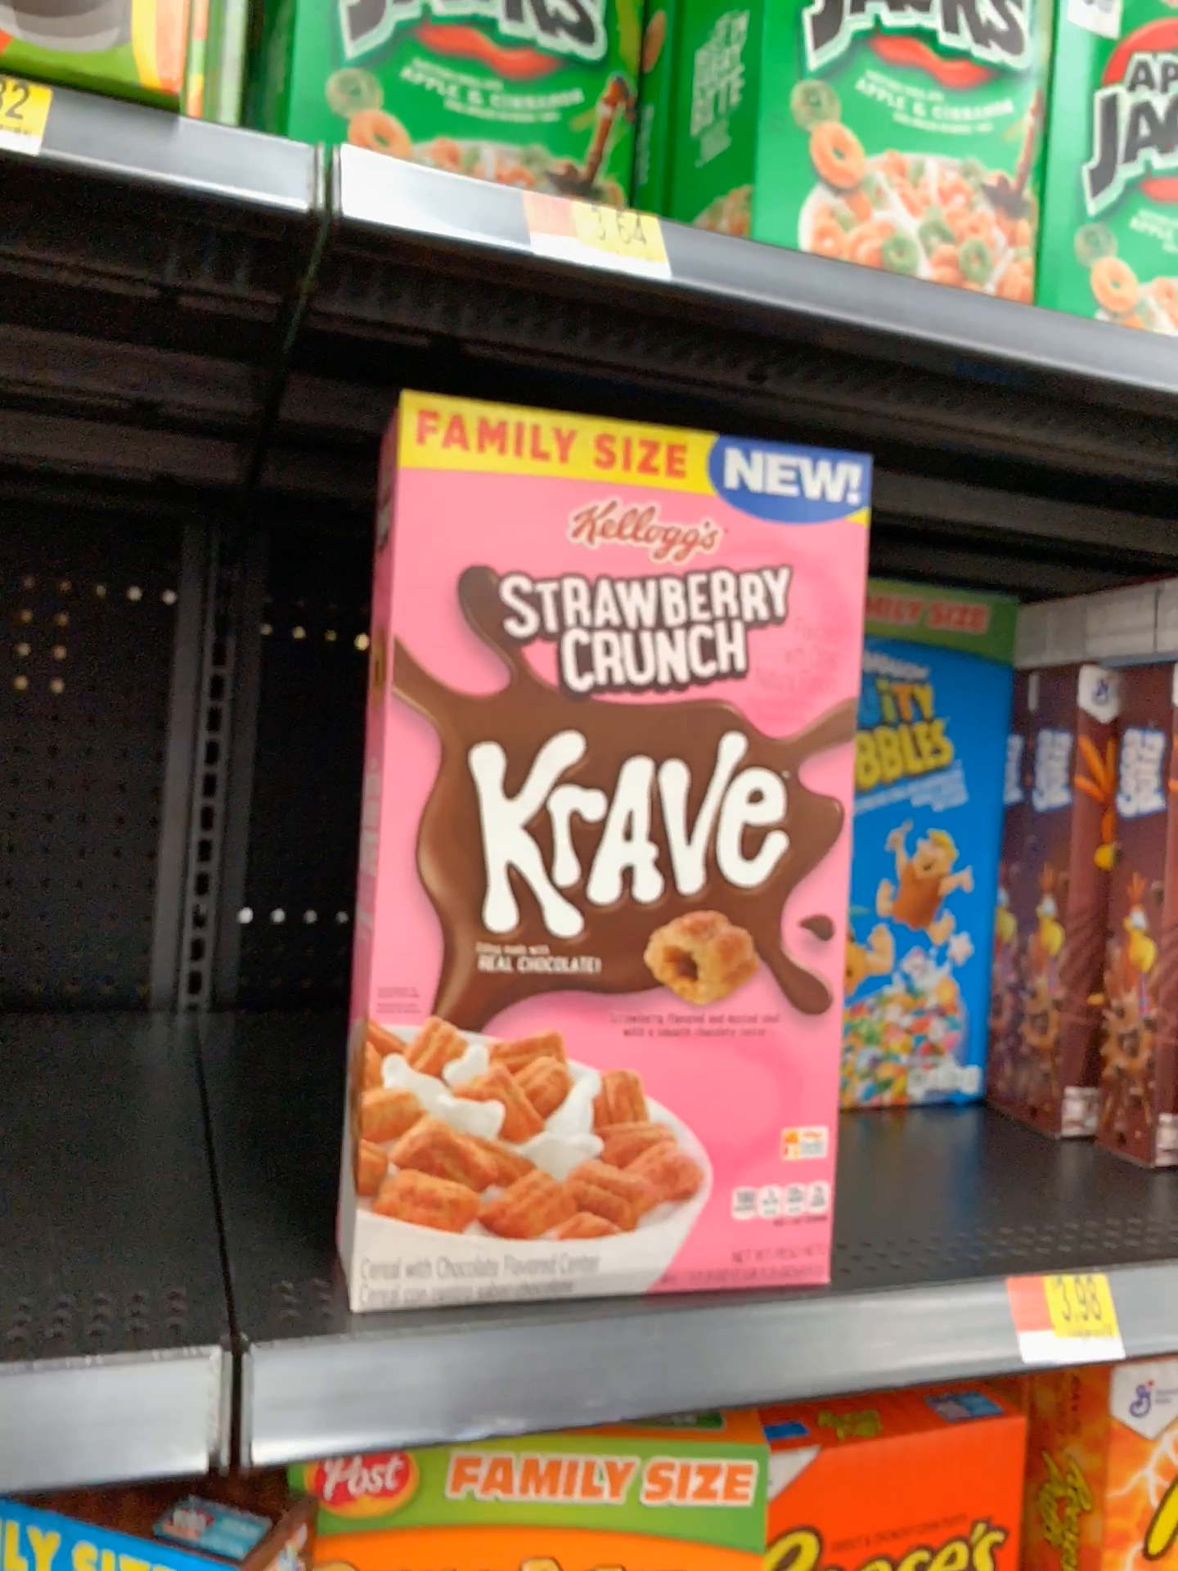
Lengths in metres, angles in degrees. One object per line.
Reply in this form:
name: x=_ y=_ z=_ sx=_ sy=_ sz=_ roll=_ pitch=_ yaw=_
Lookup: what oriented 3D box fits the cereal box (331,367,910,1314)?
cereal box: x=0.014 y=0.023 z=0.486 sx=0.200 sy=0.330 sz=0.060 roll=4 pitch=-2 yaw=-16
